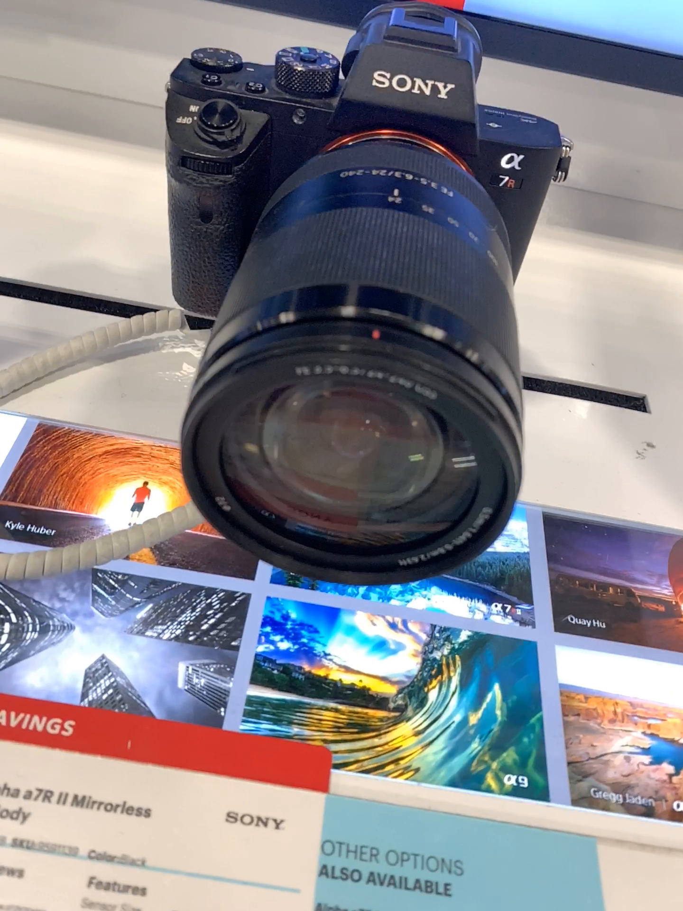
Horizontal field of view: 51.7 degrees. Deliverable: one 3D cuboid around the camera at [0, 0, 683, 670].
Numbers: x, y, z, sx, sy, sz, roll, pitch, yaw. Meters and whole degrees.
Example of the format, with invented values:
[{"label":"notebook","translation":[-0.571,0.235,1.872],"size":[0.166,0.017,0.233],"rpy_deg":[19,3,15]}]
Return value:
[{"label":"camera","translation":[0.000,-0.050,0.201],"size":[0.130,0.100,0.173],"rpy_deg":[8,49,-2]}]
